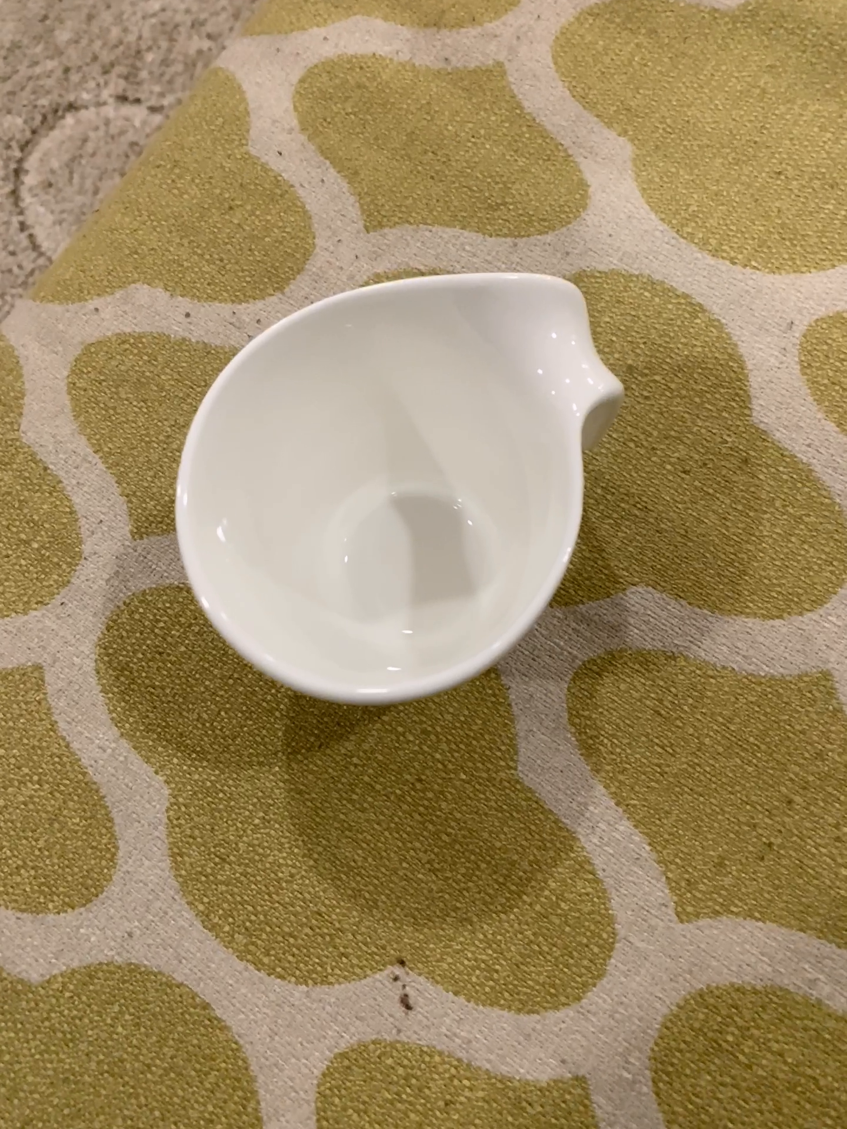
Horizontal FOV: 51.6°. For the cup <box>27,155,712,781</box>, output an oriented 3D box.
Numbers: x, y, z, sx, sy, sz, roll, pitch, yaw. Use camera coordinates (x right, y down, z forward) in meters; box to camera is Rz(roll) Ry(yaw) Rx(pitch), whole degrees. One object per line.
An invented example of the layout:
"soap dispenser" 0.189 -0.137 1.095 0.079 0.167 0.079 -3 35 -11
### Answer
"cup" -0.011 -0.015 0.212 0.108 0.079 0.089 -29 75 -2
